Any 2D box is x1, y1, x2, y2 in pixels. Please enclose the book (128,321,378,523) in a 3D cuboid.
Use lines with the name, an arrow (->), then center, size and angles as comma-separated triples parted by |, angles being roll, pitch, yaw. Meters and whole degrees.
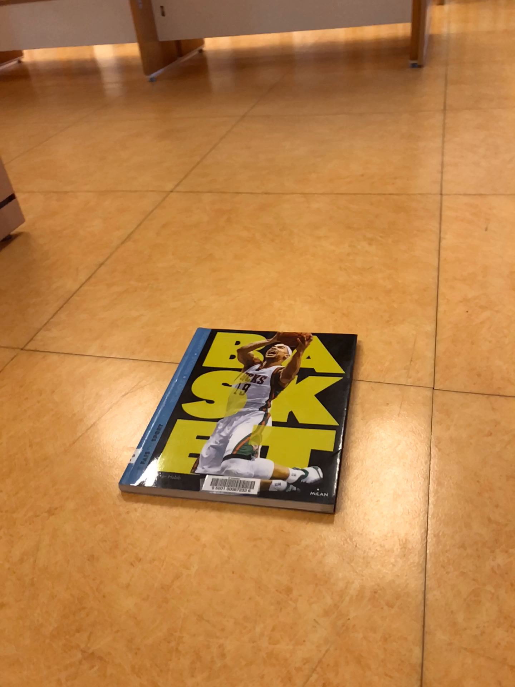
book -> 0.013, 0.058, 0.561 | 0.200, 0.020, 0.246 | 2, 37, 13
